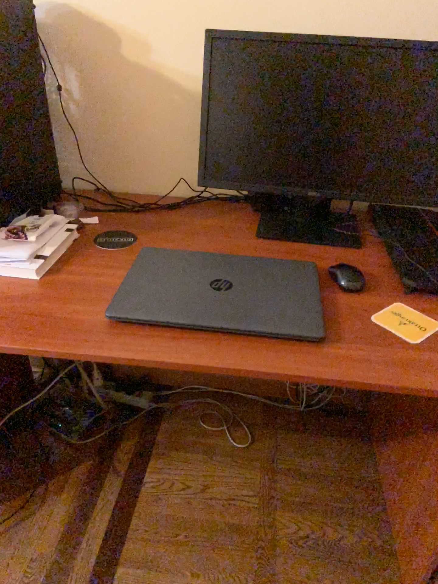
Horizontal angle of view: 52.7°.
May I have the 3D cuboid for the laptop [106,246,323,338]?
[{"bbox_3d":[0.002,-0.013,0.843,0.368,0.005,0.248,5,34,6],"label":"laptop"}]
